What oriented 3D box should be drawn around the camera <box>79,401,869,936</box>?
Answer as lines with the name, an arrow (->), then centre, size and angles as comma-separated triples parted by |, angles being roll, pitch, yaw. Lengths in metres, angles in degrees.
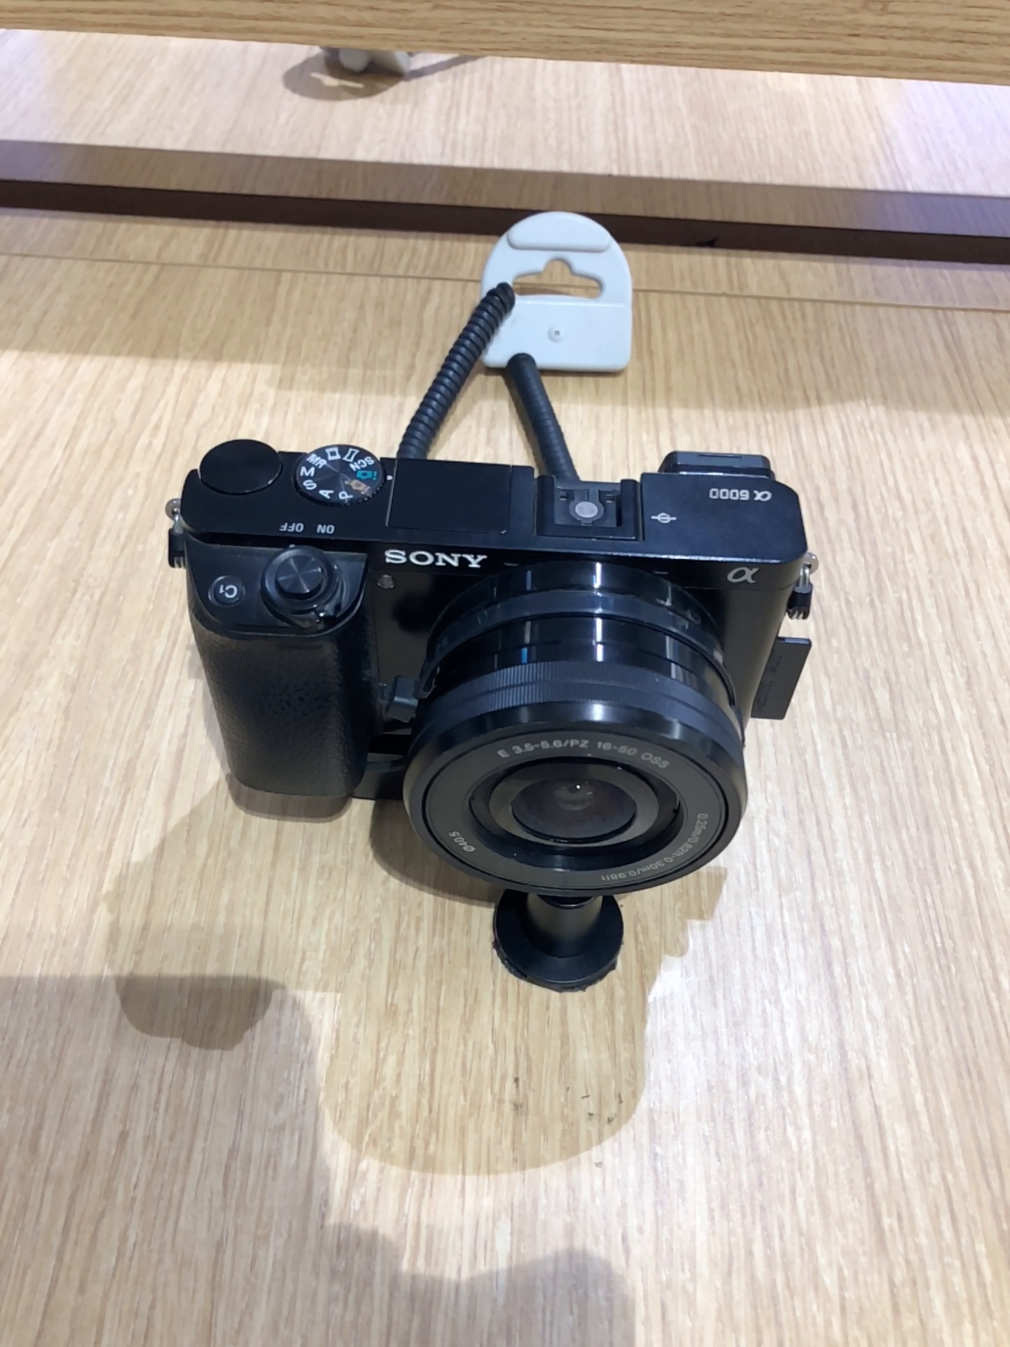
camera -> -0.005, 0.001, 0.198 | 0.107, 0.070, 0.059 | 2, 50, -1
